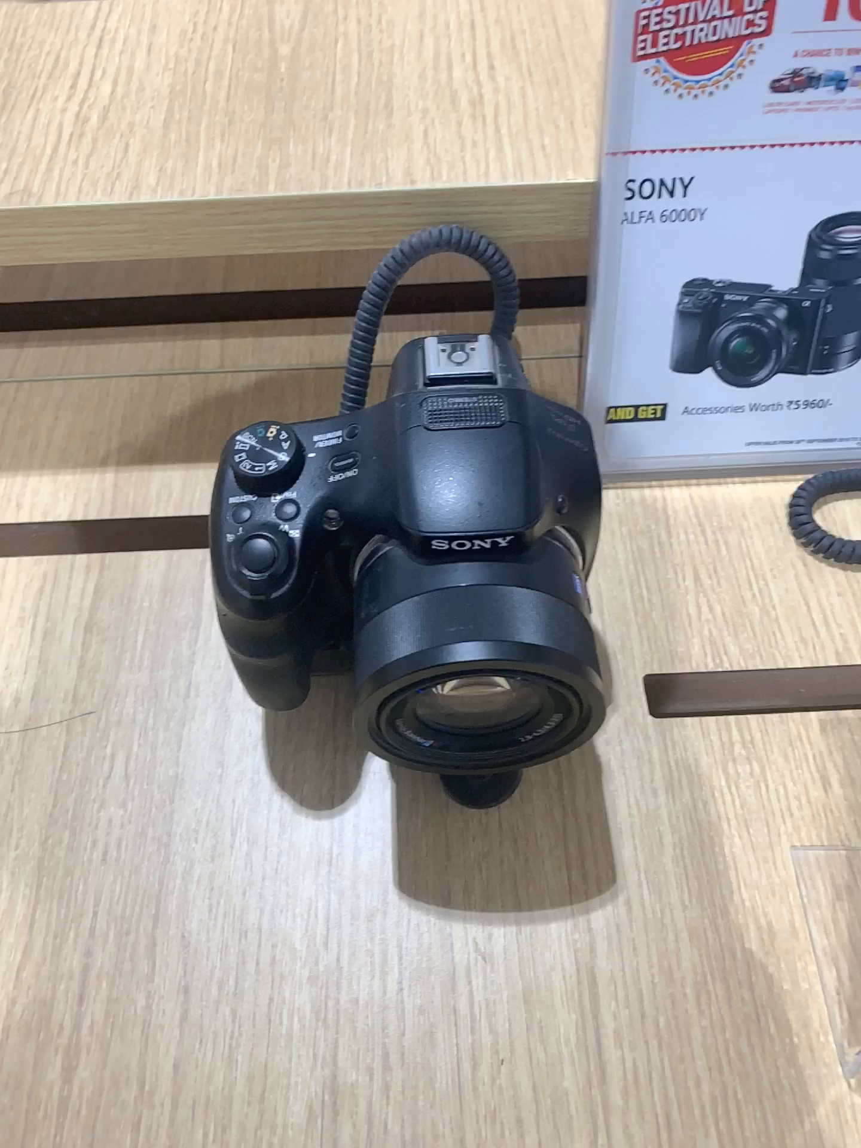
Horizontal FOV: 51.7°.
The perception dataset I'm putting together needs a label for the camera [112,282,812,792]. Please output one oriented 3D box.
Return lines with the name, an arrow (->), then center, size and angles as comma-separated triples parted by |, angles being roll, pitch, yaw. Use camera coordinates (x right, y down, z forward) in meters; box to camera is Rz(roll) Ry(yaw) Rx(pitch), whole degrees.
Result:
camera -> 0.005, -0.006, 0.244 | 0.140, 0.100, 0.090 | -4, 56, -1
